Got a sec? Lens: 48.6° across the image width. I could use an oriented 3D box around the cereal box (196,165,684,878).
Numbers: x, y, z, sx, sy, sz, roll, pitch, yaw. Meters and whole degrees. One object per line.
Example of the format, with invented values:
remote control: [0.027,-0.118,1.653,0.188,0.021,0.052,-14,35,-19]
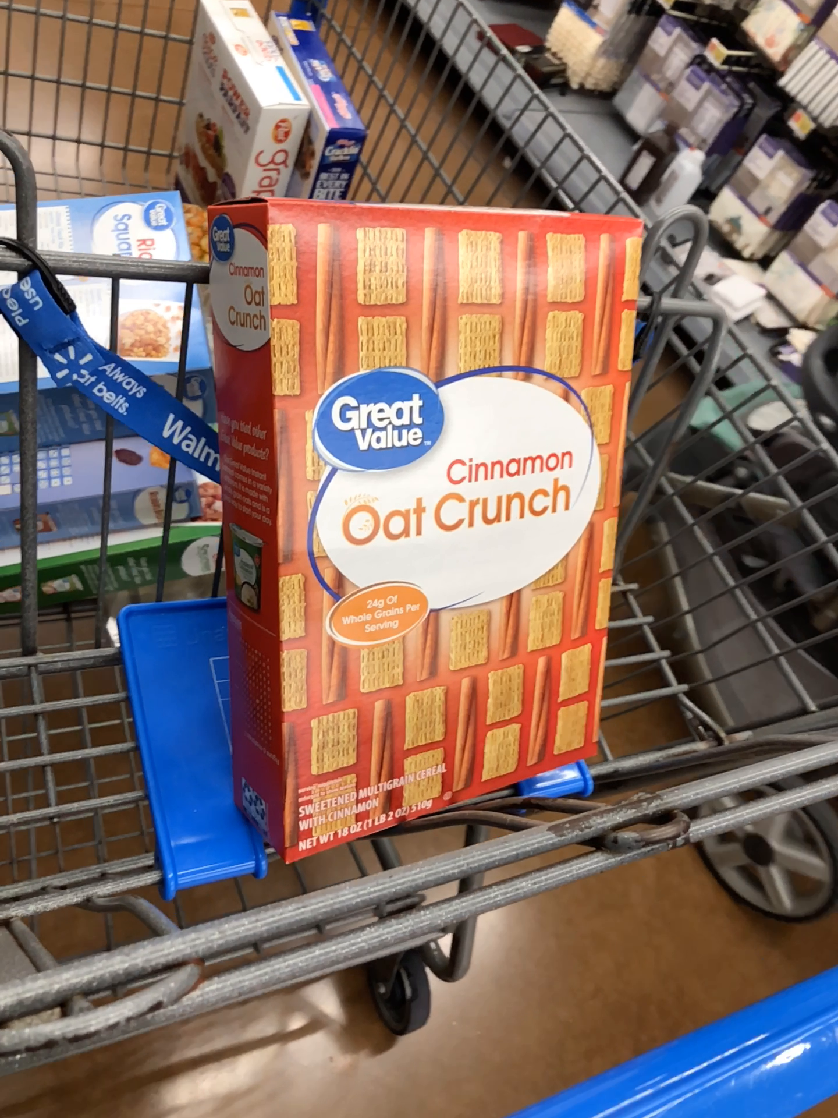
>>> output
cereal box: [0.011,-0.022,0.432,0.201,0.280,0.070,-10,21,-32]
